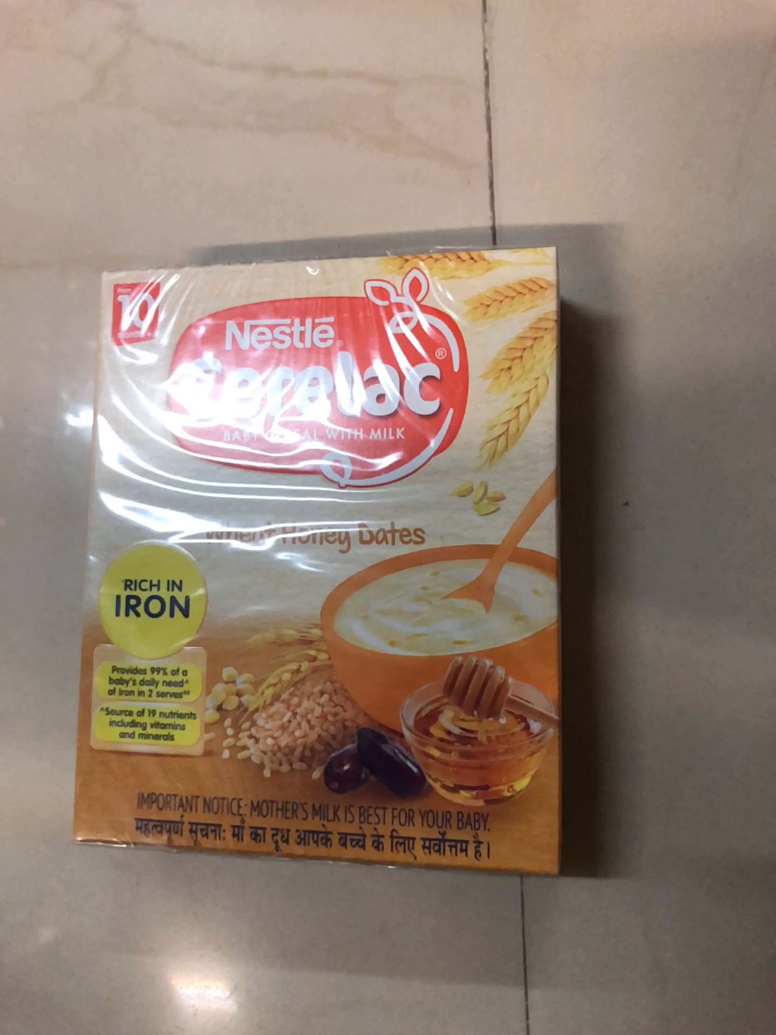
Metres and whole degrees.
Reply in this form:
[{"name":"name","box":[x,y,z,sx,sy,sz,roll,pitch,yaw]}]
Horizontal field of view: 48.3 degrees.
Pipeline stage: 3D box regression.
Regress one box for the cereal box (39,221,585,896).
[{"name":"cereal box","box":[-0.019,0.010,0.287,0.160,0.060,0.190,0,83,10]}]
